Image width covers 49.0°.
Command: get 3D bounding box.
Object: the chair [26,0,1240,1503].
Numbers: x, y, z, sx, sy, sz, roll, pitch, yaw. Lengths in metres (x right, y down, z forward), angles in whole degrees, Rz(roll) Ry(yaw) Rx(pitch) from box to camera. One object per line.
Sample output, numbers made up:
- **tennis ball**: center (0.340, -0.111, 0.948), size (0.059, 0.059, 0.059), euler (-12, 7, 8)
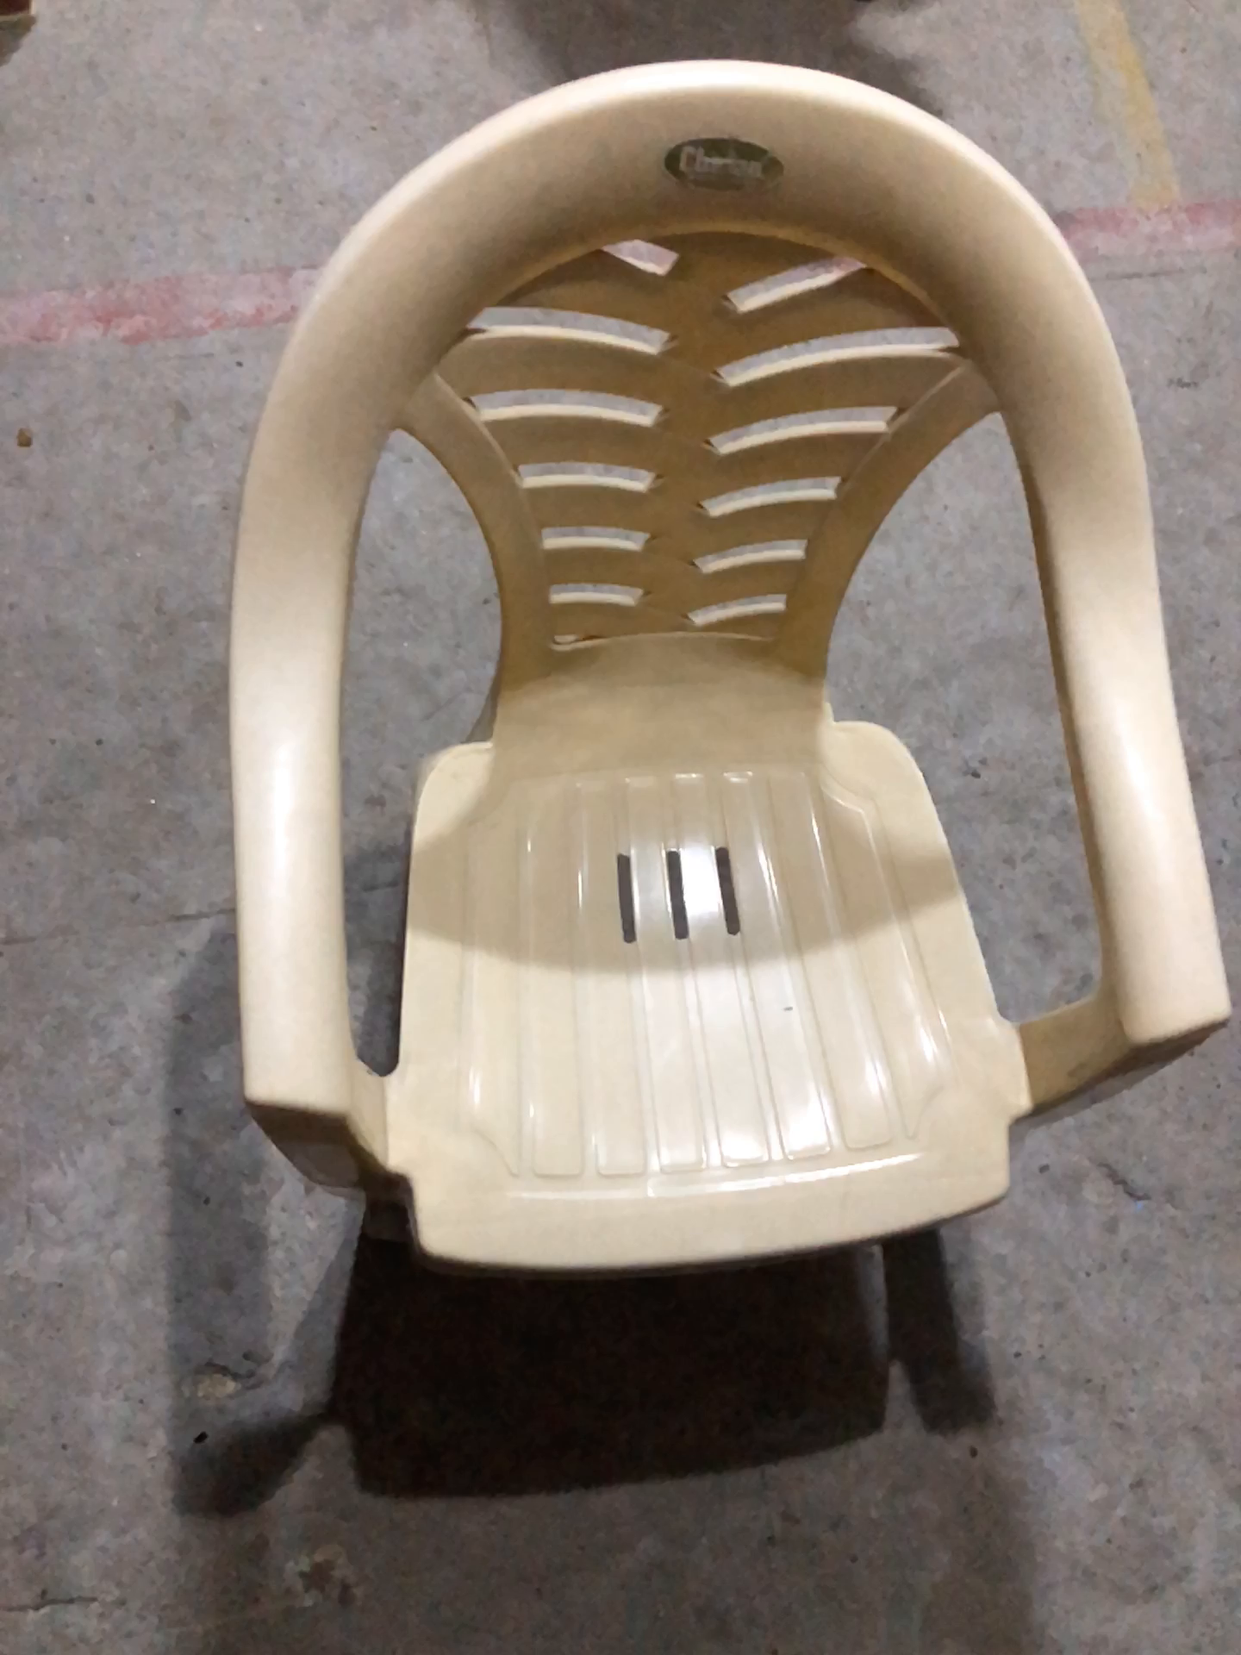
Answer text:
- **chair**: center (0.053, 0.021, 0.903), size (0.560, 0.868, 0.561), euler (-1, 76, -7)
